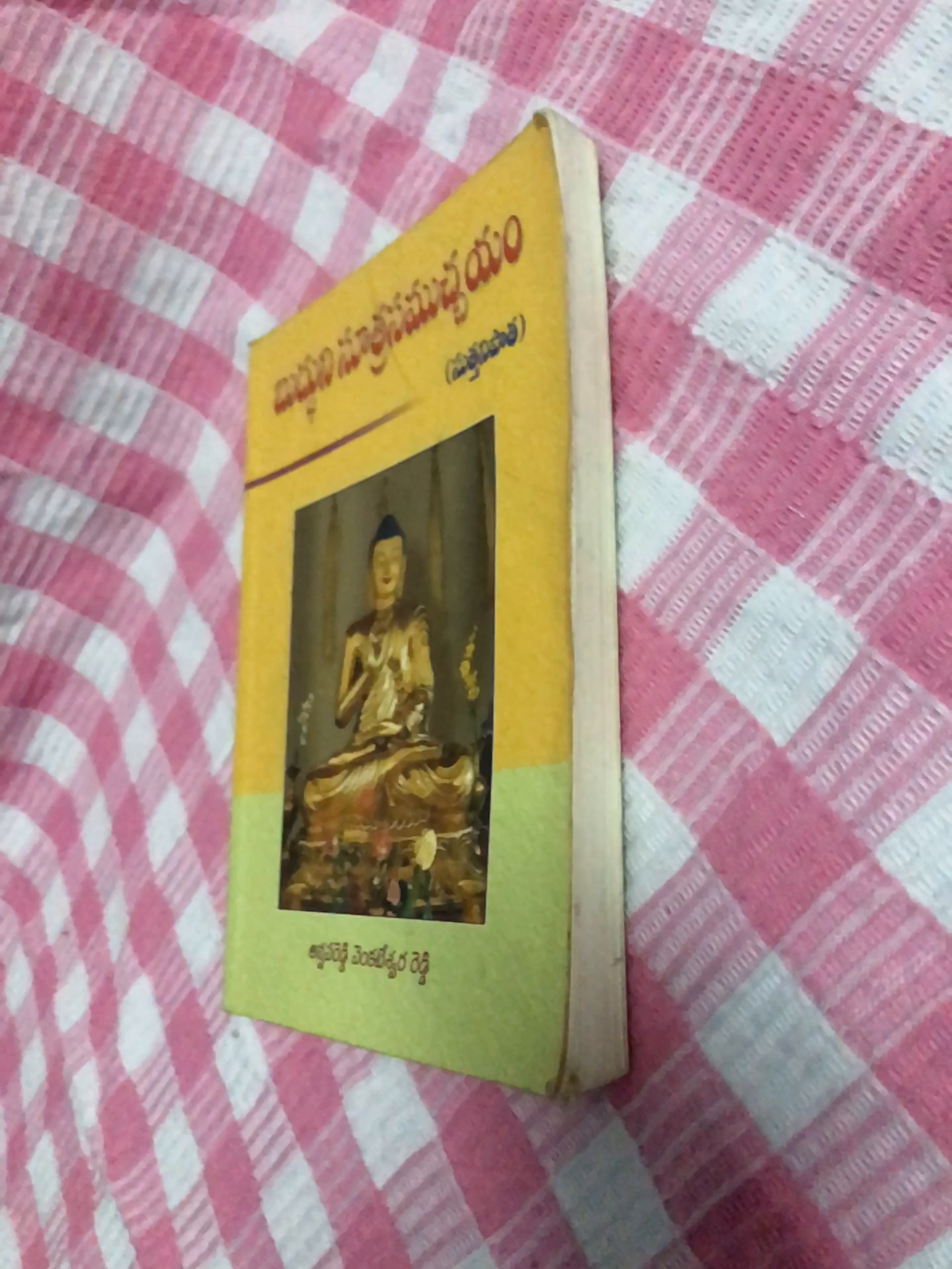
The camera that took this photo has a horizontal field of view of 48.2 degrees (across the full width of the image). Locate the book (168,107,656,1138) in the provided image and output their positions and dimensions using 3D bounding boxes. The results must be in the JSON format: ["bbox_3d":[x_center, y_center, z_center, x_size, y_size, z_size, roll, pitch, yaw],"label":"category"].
[{"bbox_3d":[-0.024,0.000,0.276,0.151,0.030,0.210,-14,70,48],"label":"book"}]
